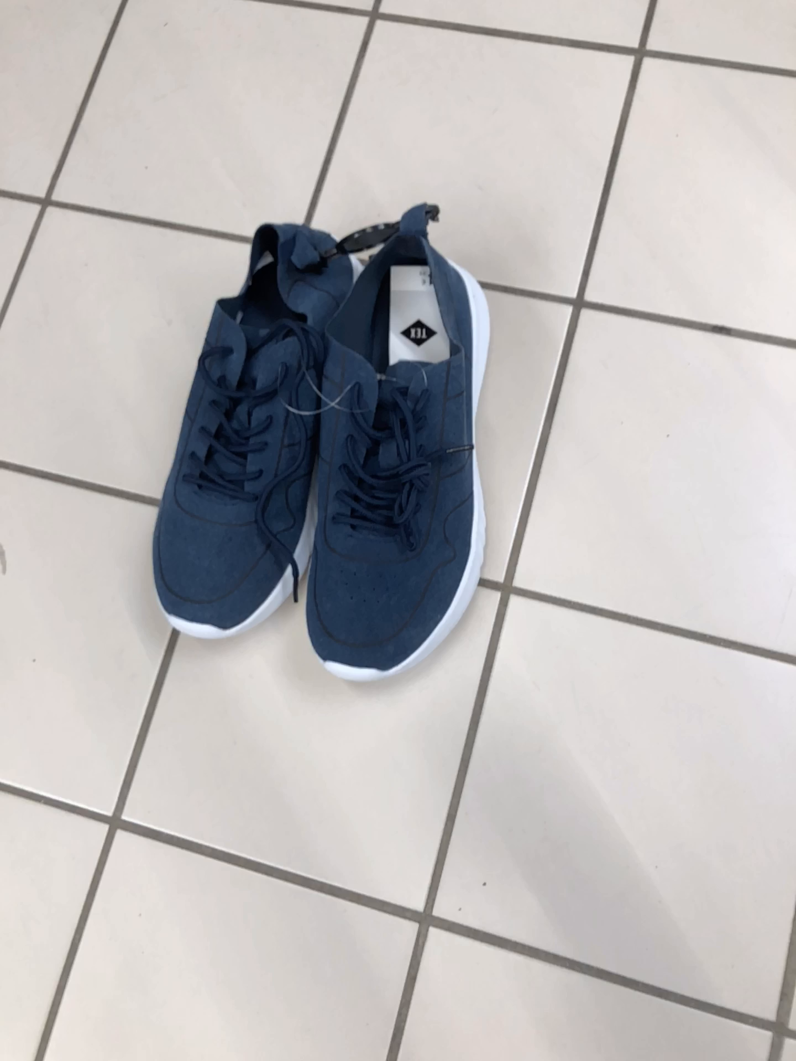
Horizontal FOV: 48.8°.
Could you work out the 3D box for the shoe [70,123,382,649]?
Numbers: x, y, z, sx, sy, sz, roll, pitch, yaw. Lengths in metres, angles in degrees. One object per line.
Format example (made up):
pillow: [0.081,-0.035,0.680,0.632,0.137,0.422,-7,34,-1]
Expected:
shoe: [-0.092,-0.085,0.540,0.100,0.110,0.290,9,78,9]

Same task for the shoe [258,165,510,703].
shoe: [0.003,-0.052,0.525,0.100,0.120,0.290,5,77,8]
